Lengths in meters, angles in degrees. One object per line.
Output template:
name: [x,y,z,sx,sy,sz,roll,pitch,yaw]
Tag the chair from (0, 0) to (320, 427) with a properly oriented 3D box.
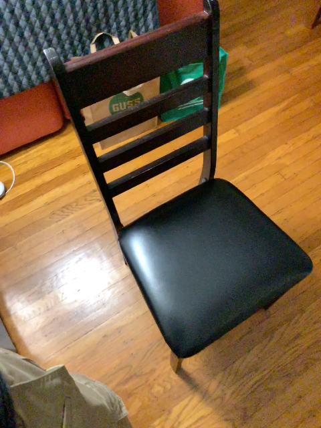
chair: [0.106,0.047,0.817,0.490,0.868,0.551,-31,68,-14]
